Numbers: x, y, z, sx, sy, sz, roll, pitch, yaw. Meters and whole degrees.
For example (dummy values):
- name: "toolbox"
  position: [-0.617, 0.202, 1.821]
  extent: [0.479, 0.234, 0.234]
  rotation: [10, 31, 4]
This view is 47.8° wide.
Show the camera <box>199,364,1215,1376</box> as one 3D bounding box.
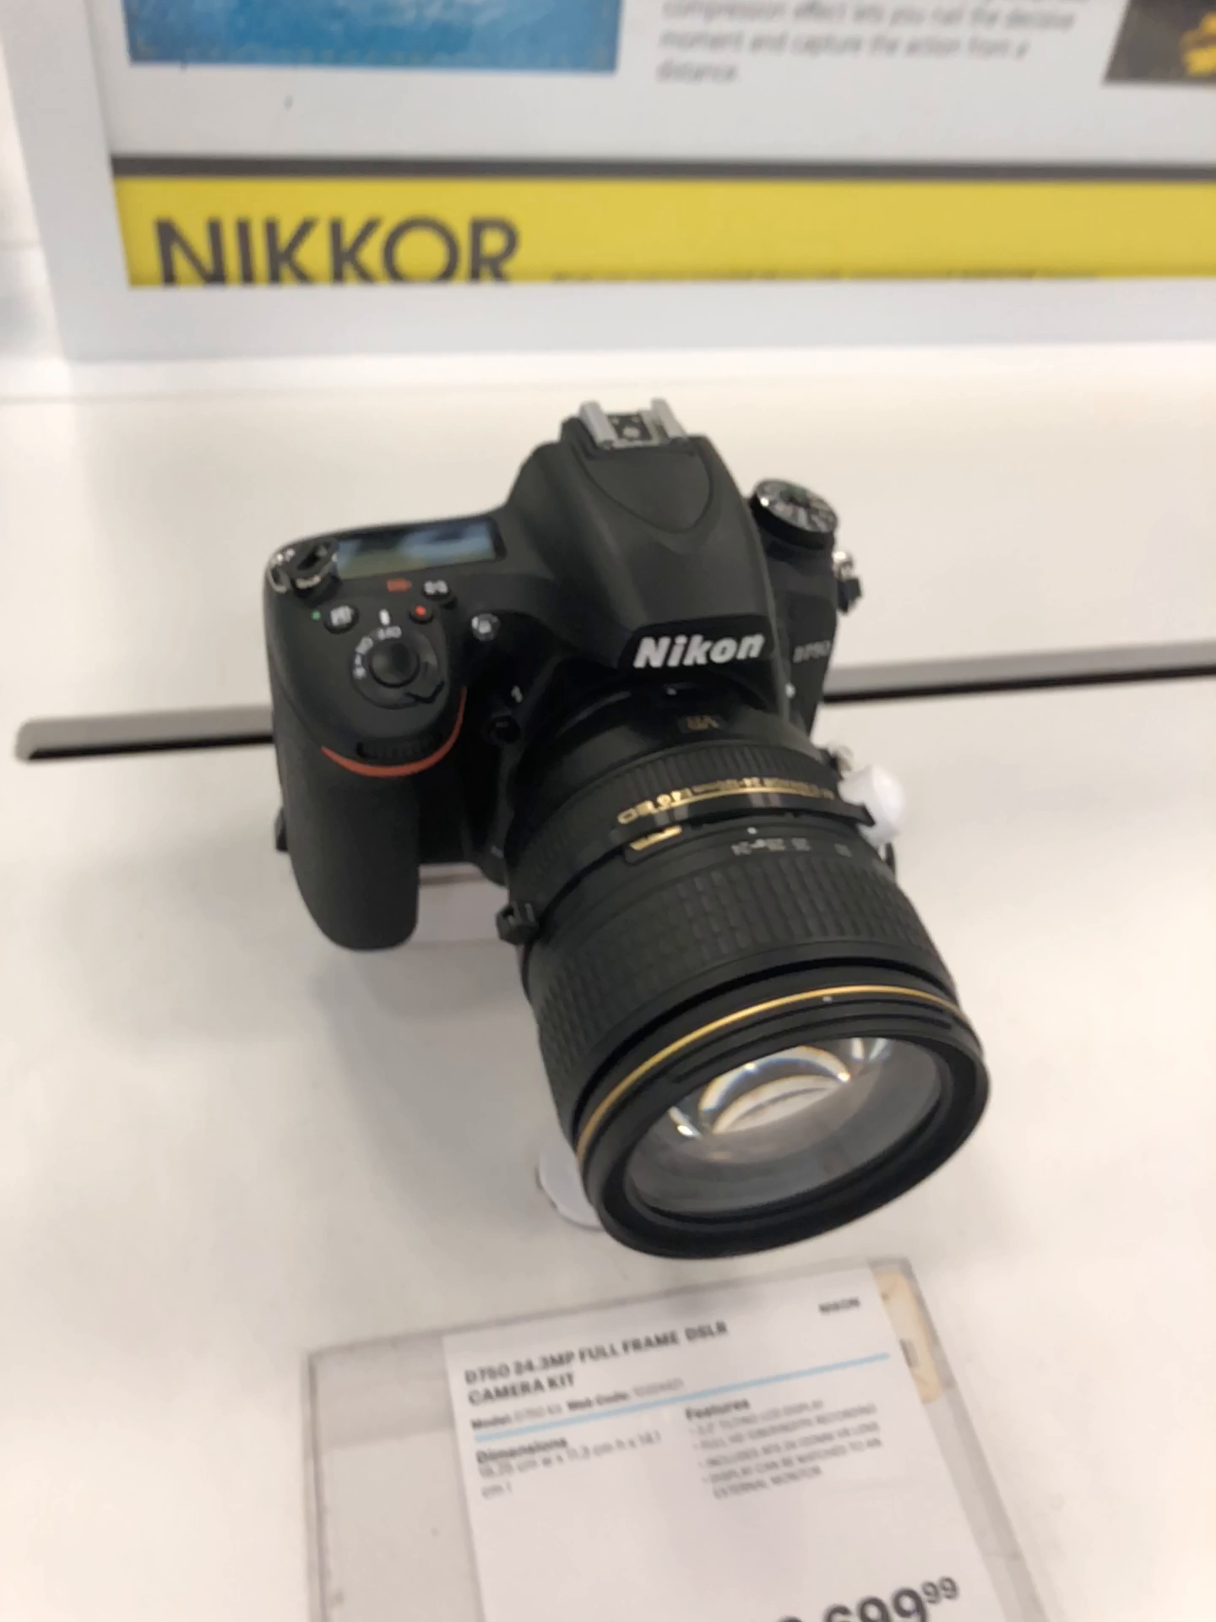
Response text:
- name: "camera"
  position: [0.001, -0.001, 0.295]
  extent: [0.150, 0.110, 0.170]
  rotation: [-7, 46, -14]
